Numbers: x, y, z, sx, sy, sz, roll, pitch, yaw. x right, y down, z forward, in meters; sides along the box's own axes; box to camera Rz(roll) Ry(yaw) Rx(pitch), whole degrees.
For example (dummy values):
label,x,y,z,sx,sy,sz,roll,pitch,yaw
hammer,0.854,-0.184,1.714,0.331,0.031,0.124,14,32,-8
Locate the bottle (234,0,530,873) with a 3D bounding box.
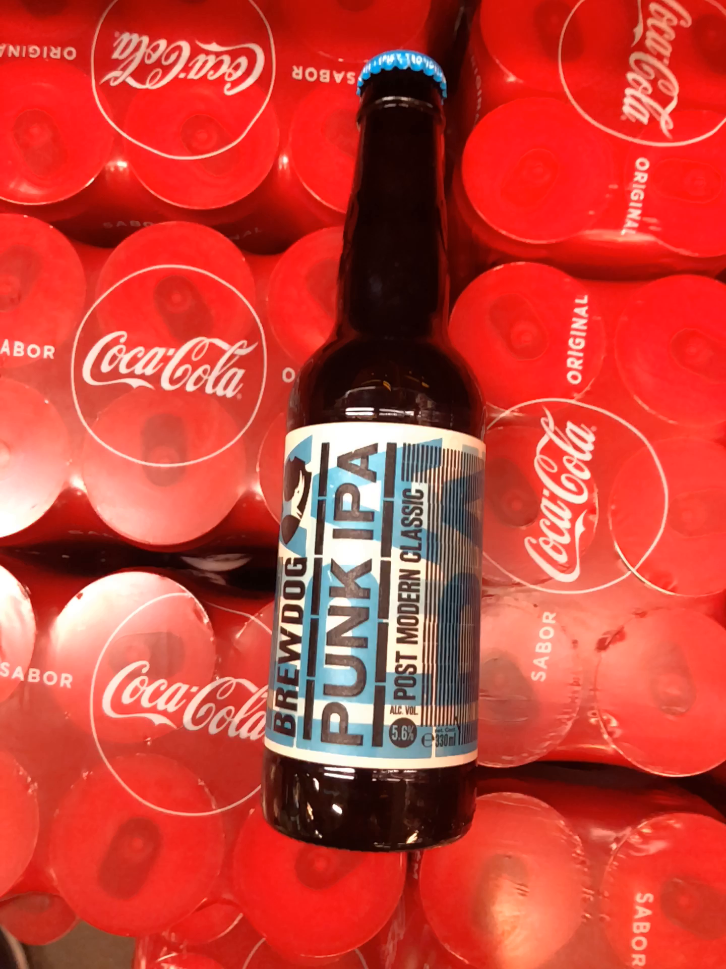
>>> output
label,x,y,z,sx,sy,sz,roll,pitch,yaw
bottle,0.006,-0.027,0.220,0.060,0.060,0.230,3,83,-1
